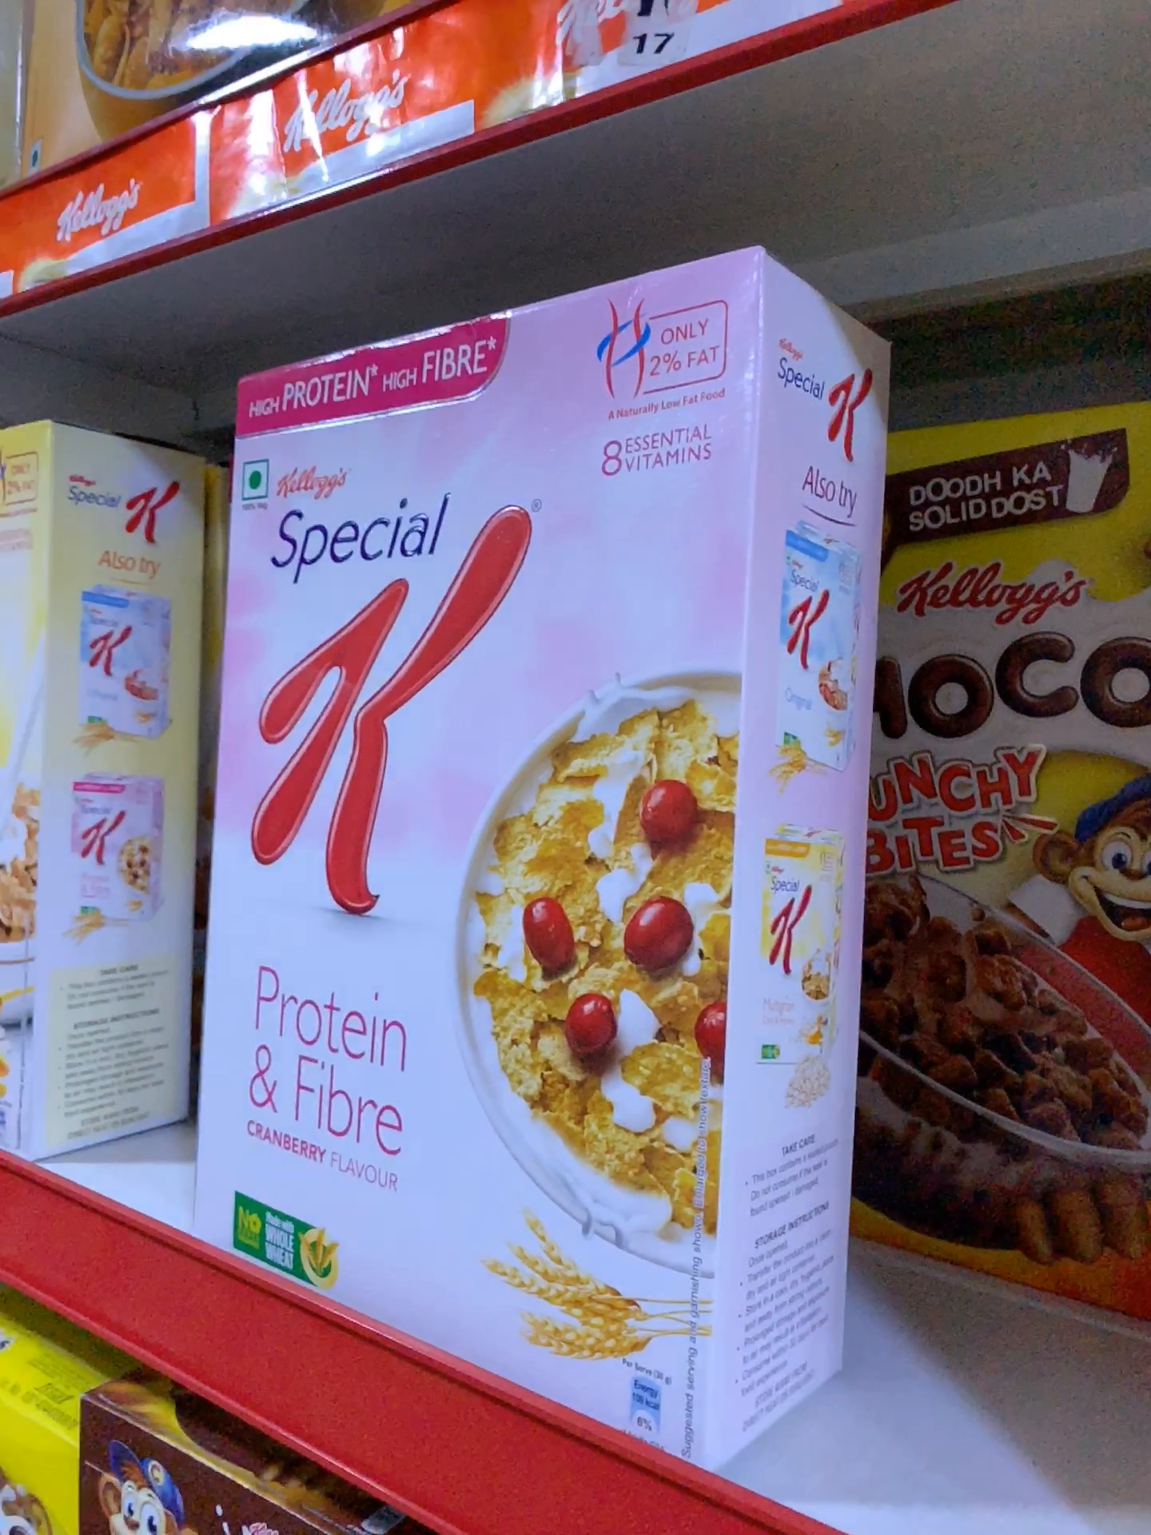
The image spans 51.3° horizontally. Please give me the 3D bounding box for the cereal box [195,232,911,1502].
[{"bbox_3d":[-0.014,0.015,0.302,0.170,0.240,0.060,3,0,38],"label":"cereal box"}]
